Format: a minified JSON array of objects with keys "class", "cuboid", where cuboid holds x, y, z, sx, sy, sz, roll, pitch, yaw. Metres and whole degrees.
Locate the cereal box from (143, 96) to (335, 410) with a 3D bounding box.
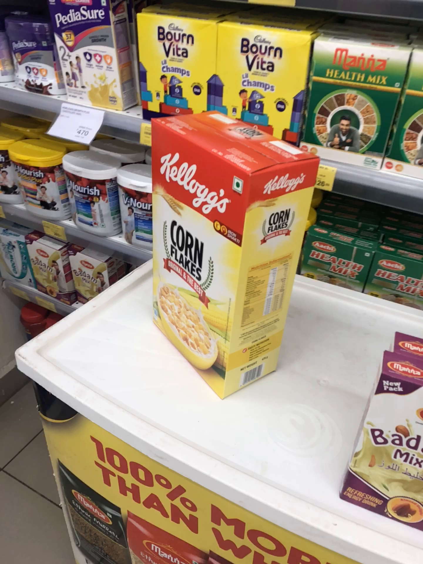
[{"class":"cereal box","cuboid":[0.015,-0.037,0.597,0.110,0.329,0.201,-19,40,-28]}]
